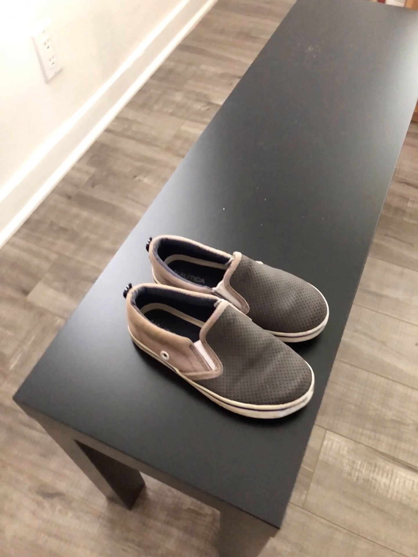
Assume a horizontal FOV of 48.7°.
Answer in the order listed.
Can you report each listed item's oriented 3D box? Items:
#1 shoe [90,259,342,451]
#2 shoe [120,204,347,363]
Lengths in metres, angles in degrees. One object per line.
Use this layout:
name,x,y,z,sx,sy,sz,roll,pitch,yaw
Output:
shoe,0.005,0.064,0.403,0.190,0.070,0.077,21,57,14
shoe,0.023,0.003,0.444,0.190,0.070,0.077,17,57,12
